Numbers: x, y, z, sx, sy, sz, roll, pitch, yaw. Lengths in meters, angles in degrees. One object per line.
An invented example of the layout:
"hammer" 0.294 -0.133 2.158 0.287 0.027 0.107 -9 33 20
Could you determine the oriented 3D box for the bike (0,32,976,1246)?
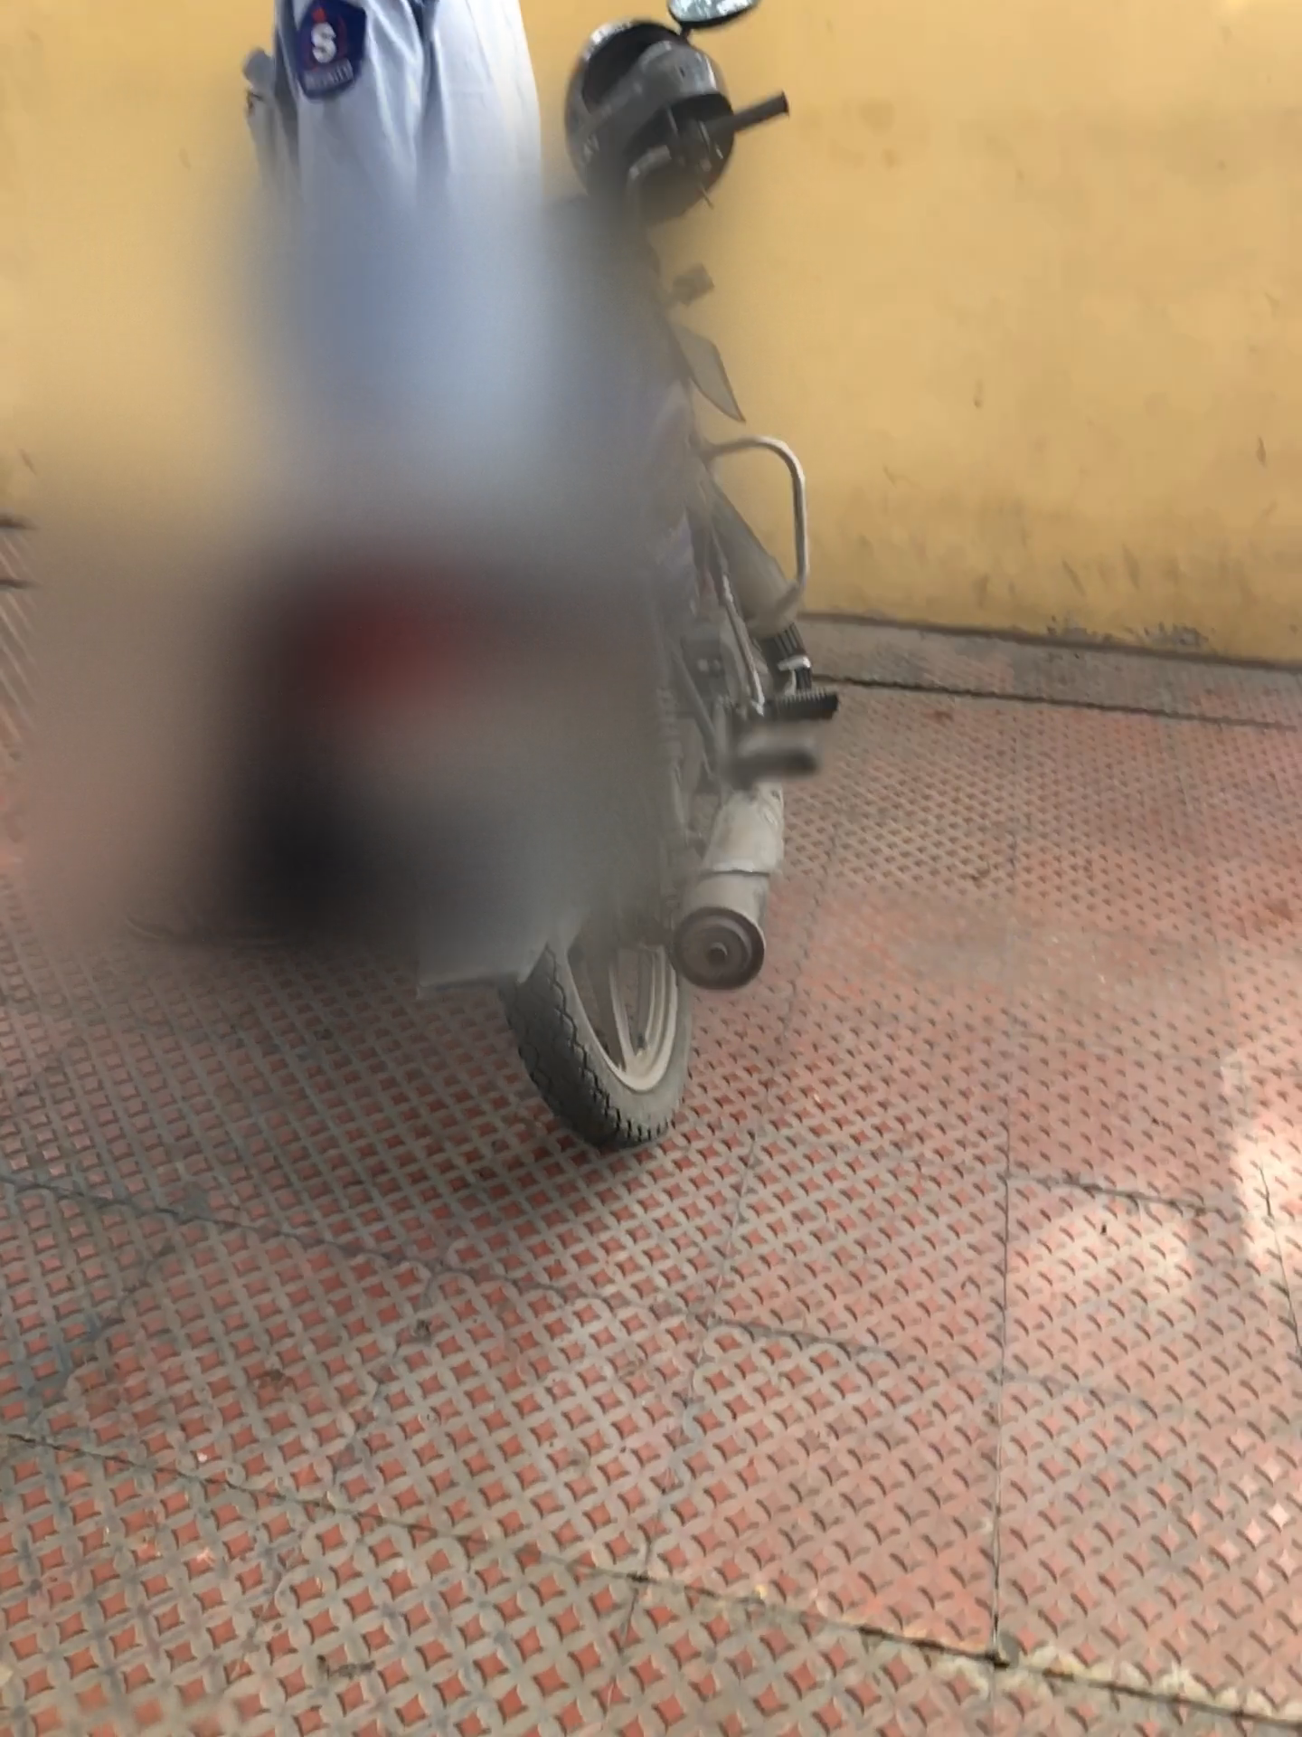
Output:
"bike" -0.247 -0.520 1.970 0.920 1.007 1.685 2 32 0
